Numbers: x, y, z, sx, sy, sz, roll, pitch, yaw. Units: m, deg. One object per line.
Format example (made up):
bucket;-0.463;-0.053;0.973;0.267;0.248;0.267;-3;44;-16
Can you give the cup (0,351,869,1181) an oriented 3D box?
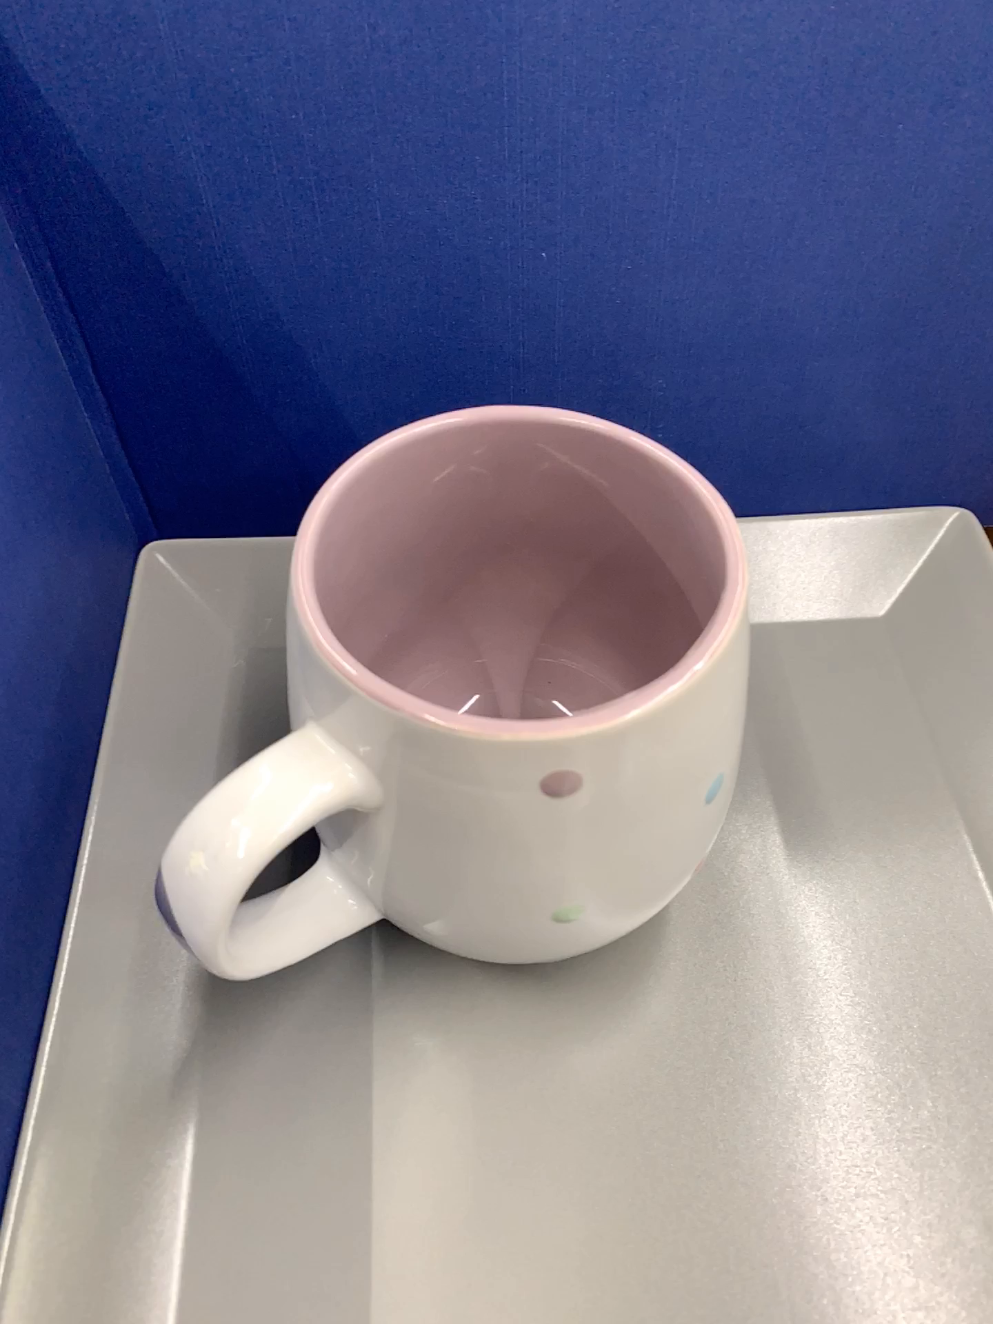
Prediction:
cup;-0.010;0.015;0.224;0.130;0.088;0.097;-33;56;-24
